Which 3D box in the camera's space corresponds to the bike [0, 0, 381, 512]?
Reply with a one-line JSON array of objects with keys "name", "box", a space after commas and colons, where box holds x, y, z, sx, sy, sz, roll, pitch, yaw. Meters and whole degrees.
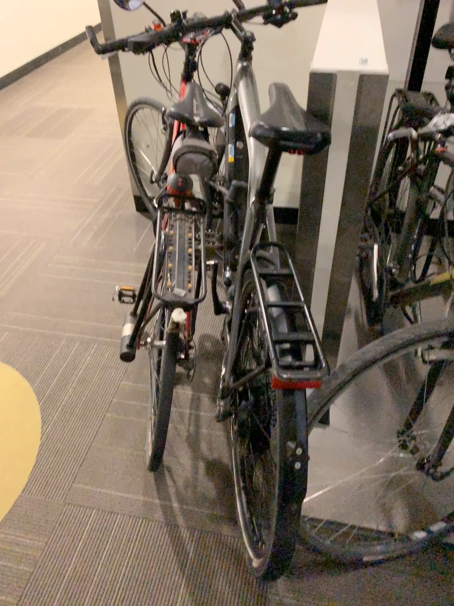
[{"name": "bike", "box": [-0.223, -0.374, 1.526, 0.602, 0.927, 1.621, -8, 46, -7]}]

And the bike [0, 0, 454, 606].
[{"name": "bike", "box": [0.079, 0.075, 0.983, 0.692, 1.149, 0.730, -7, 47, -6]}]
